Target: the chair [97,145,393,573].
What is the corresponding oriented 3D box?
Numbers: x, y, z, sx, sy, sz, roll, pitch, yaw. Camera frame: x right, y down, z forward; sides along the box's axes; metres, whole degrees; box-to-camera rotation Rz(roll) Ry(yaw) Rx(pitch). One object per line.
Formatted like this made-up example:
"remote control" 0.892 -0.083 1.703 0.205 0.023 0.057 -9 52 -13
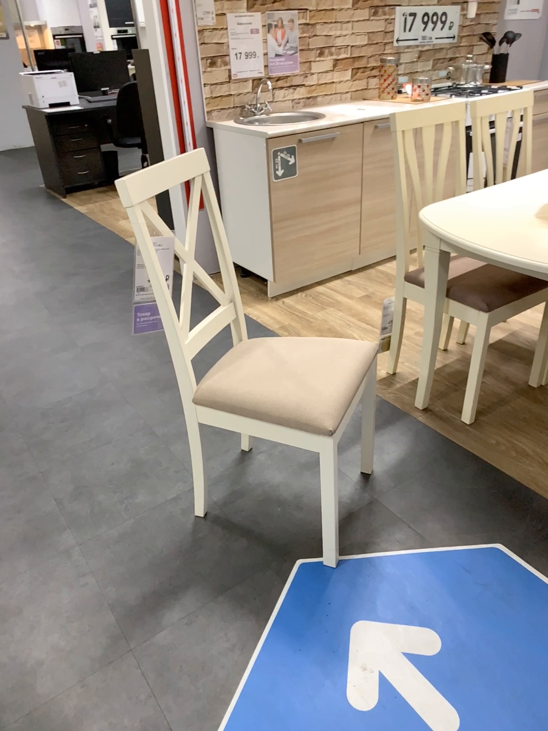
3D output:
"chair" -0.020 -0.023 1.511 0.528 0.989 0.437 10 33 21
